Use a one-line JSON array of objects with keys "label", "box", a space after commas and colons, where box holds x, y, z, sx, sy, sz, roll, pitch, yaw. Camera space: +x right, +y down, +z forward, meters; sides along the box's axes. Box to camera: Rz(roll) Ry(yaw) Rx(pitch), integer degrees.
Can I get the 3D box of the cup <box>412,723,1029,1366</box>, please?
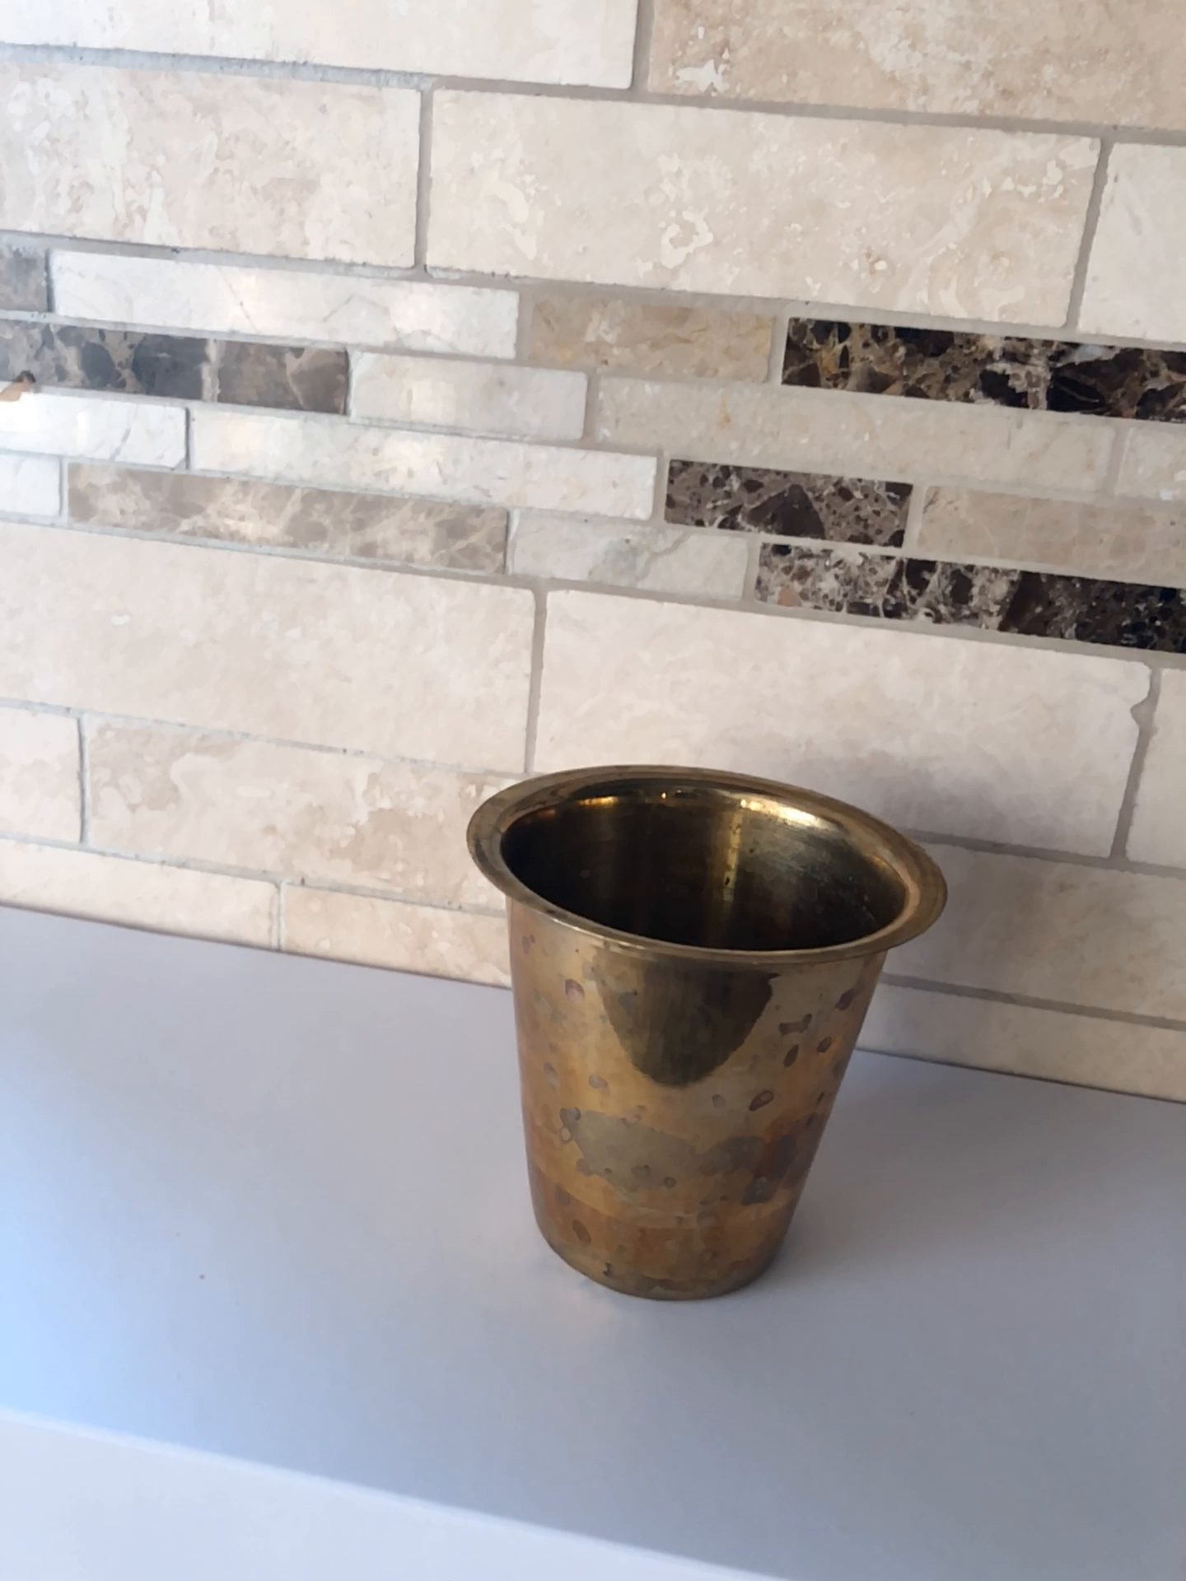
[{"label": "cup", "box": [0.020, 0.038, 0.233, 0.083, 0.071, 0.076, 7, 20, 4]}]
